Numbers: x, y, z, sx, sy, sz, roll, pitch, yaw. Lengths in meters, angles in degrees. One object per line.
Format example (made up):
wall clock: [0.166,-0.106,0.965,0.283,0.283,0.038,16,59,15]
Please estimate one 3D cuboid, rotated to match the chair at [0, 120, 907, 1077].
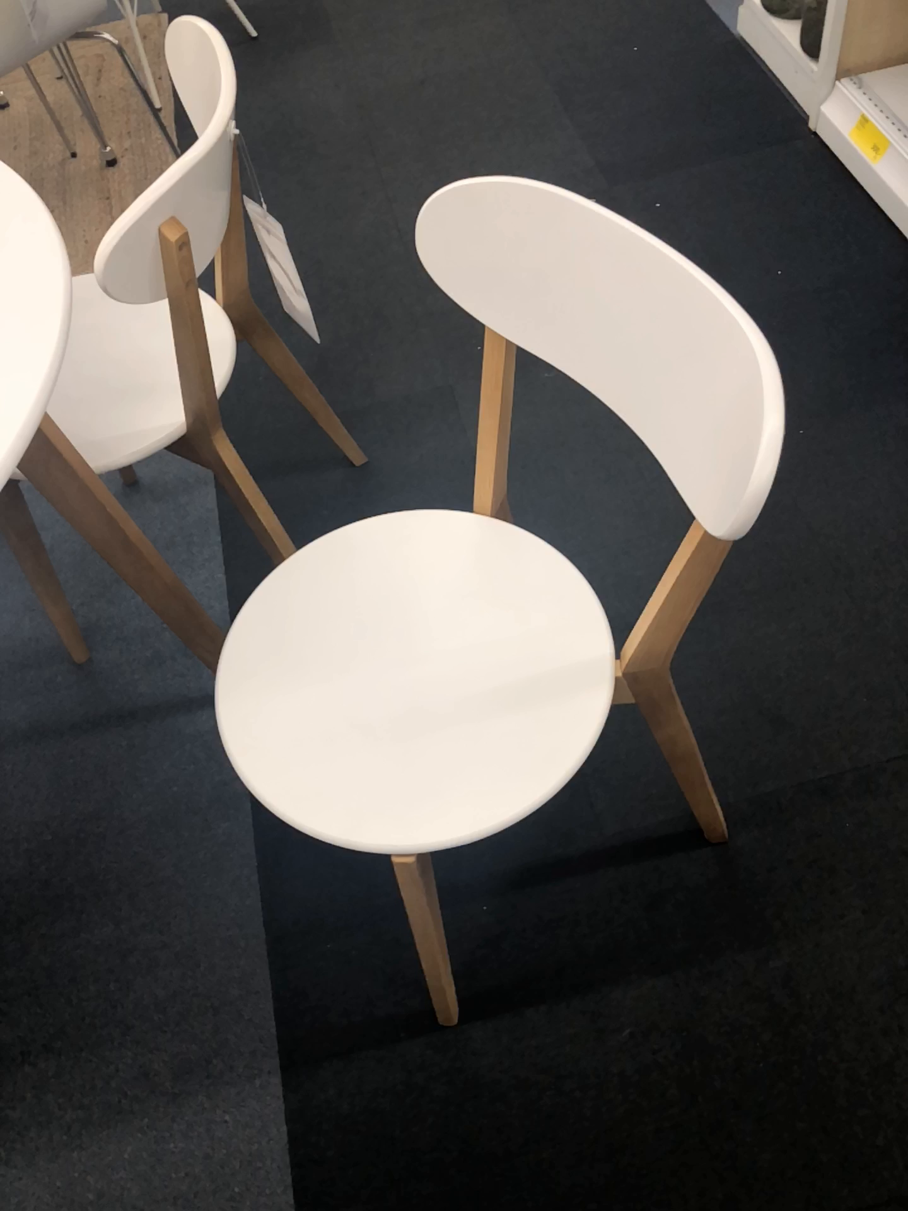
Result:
chair: [0.025,0.018,0.972,0.560,0.598,0.481,-31,56,-13]
